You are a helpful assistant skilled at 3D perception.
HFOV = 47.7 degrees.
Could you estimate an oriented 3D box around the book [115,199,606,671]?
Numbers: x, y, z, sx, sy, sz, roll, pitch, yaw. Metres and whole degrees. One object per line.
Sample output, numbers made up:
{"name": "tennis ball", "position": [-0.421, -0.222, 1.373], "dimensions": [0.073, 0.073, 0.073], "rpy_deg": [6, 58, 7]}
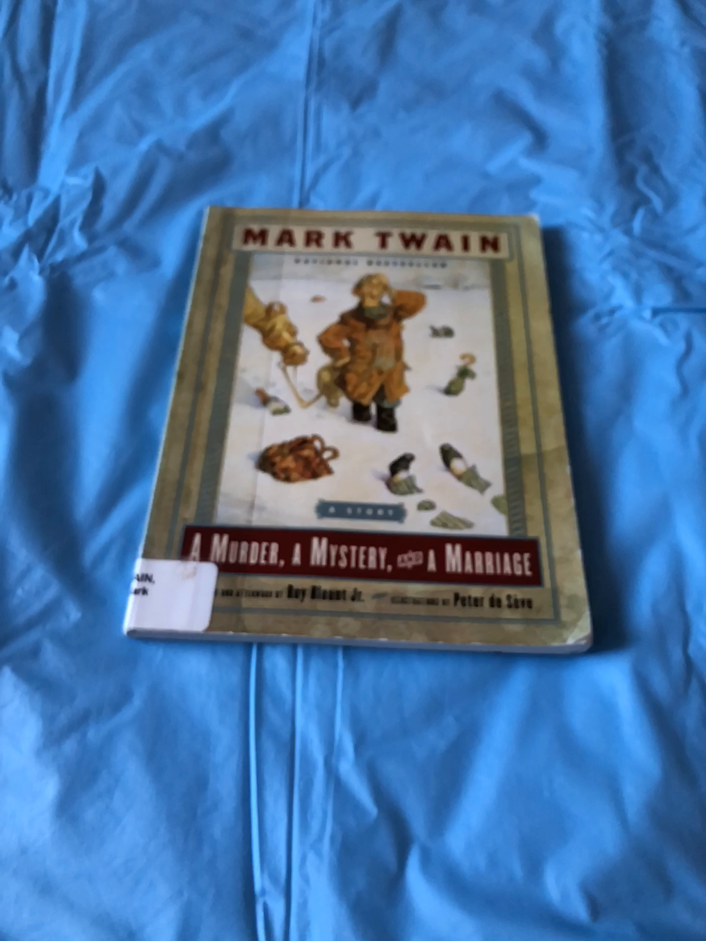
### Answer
{"name": "book", "position": [0.006, -0.028, 0.323], "dimensions": [0.160, 0.020, 0.210], "rpy_deg": [2, 58, 0]}
